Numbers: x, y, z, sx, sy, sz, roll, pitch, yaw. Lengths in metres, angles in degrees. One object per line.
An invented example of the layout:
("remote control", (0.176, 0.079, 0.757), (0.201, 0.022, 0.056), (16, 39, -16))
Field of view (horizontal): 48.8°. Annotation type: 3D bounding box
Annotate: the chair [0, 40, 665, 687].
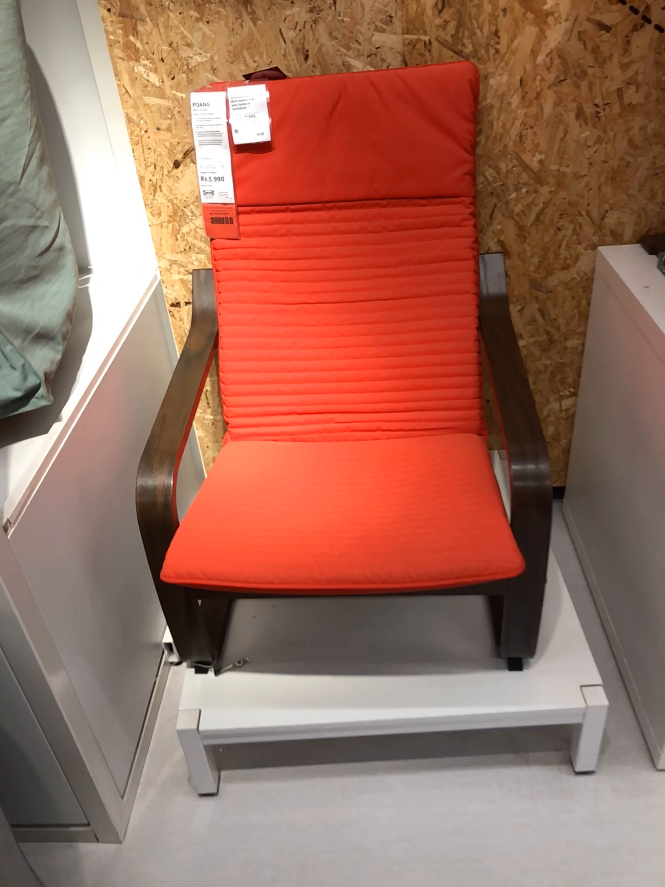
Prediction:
("chair", (0.028, -0.168, 1.374), (0.750, 0.894, 0.796), (-2, 35, 5))
